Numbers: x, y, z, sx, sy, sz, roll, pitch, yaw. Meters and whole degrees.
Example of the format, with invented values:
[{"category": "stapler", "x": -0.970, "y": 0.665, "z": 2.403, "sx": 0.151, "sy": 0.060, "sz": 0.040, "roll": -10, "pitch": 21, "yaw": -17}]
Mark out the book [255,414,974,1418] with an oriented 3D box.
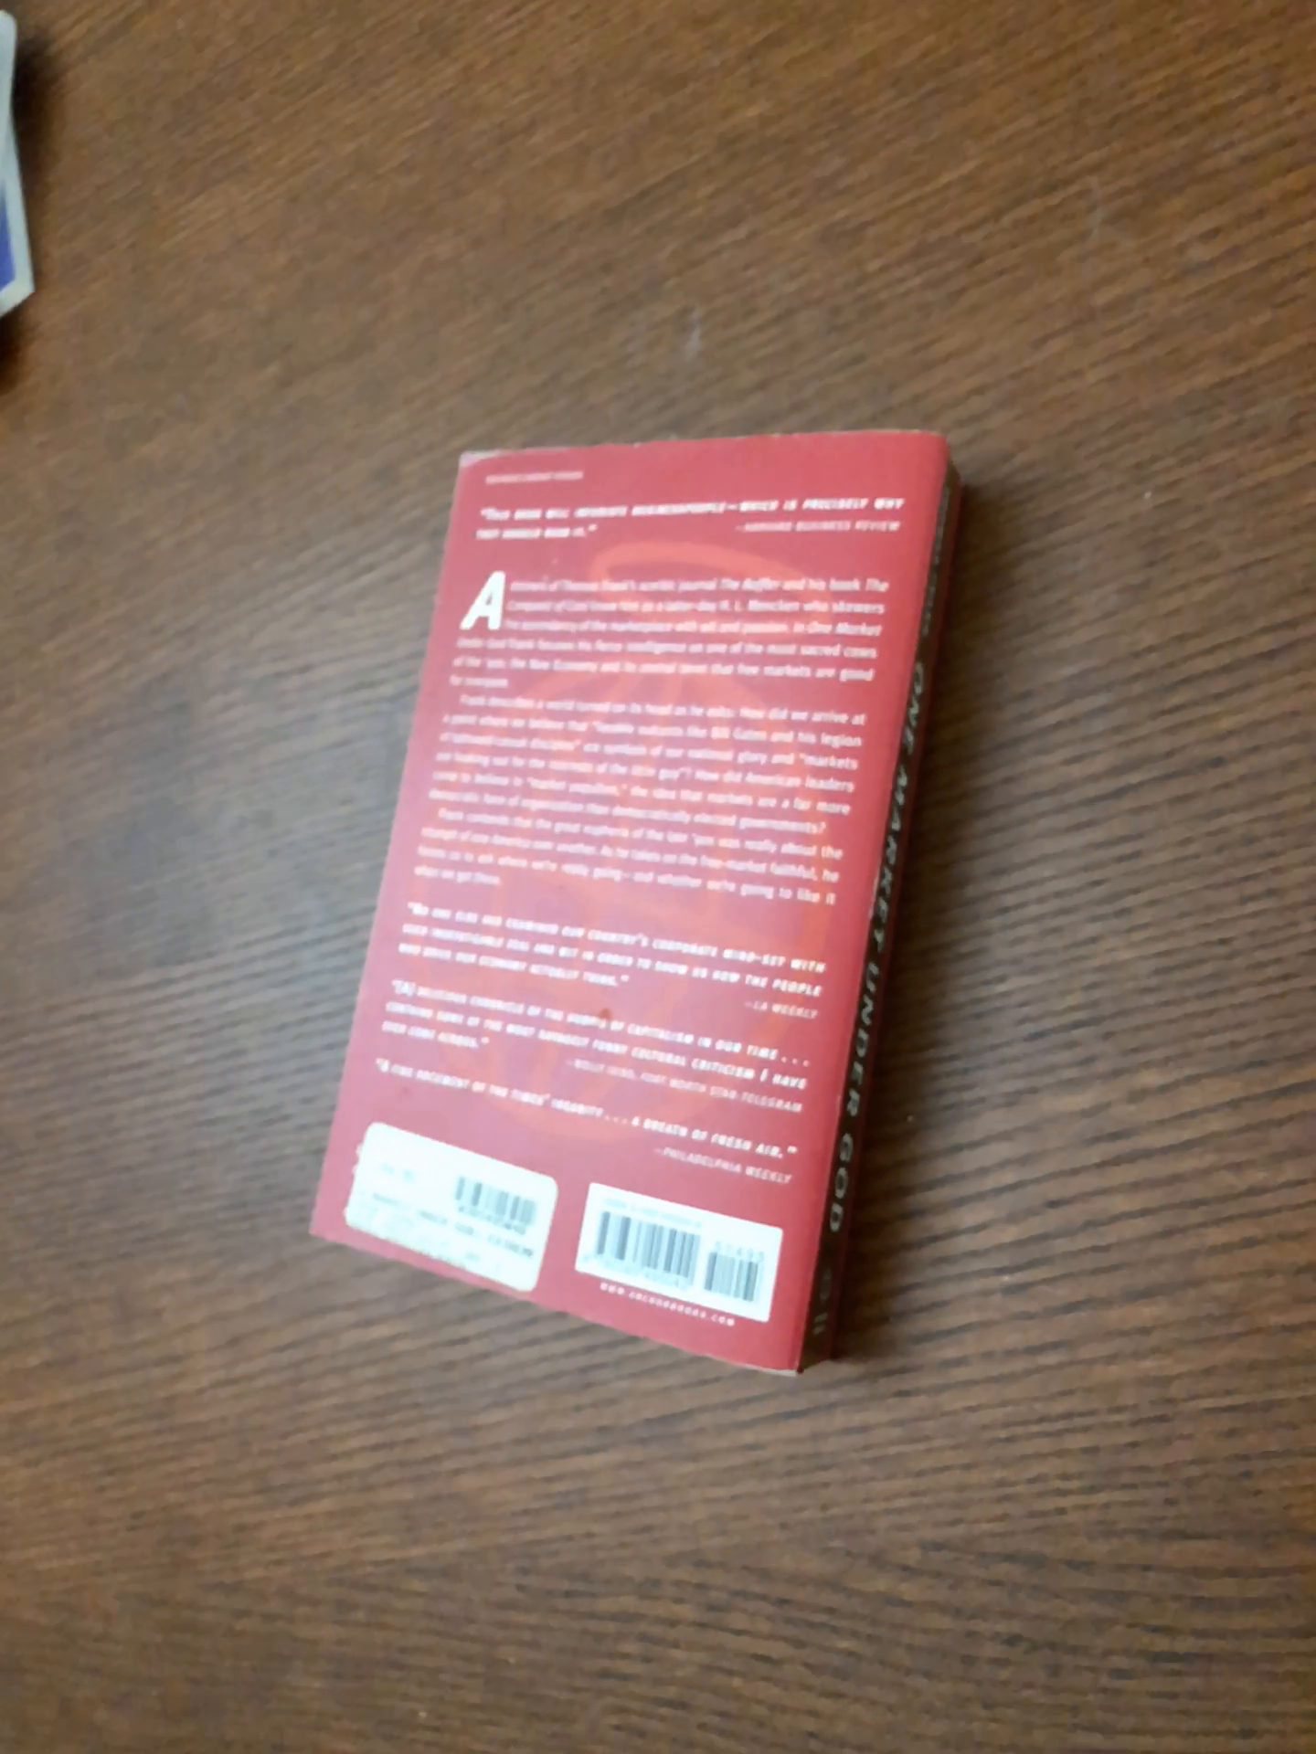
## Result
[{"category": "book", "x": -0.013, "y": 0.000, "z": 0.350, "sx": 0.140, "sy": 0.030, "sz": 0.210, "roll": 7, "pitch": 83, "yaw": 31}]
